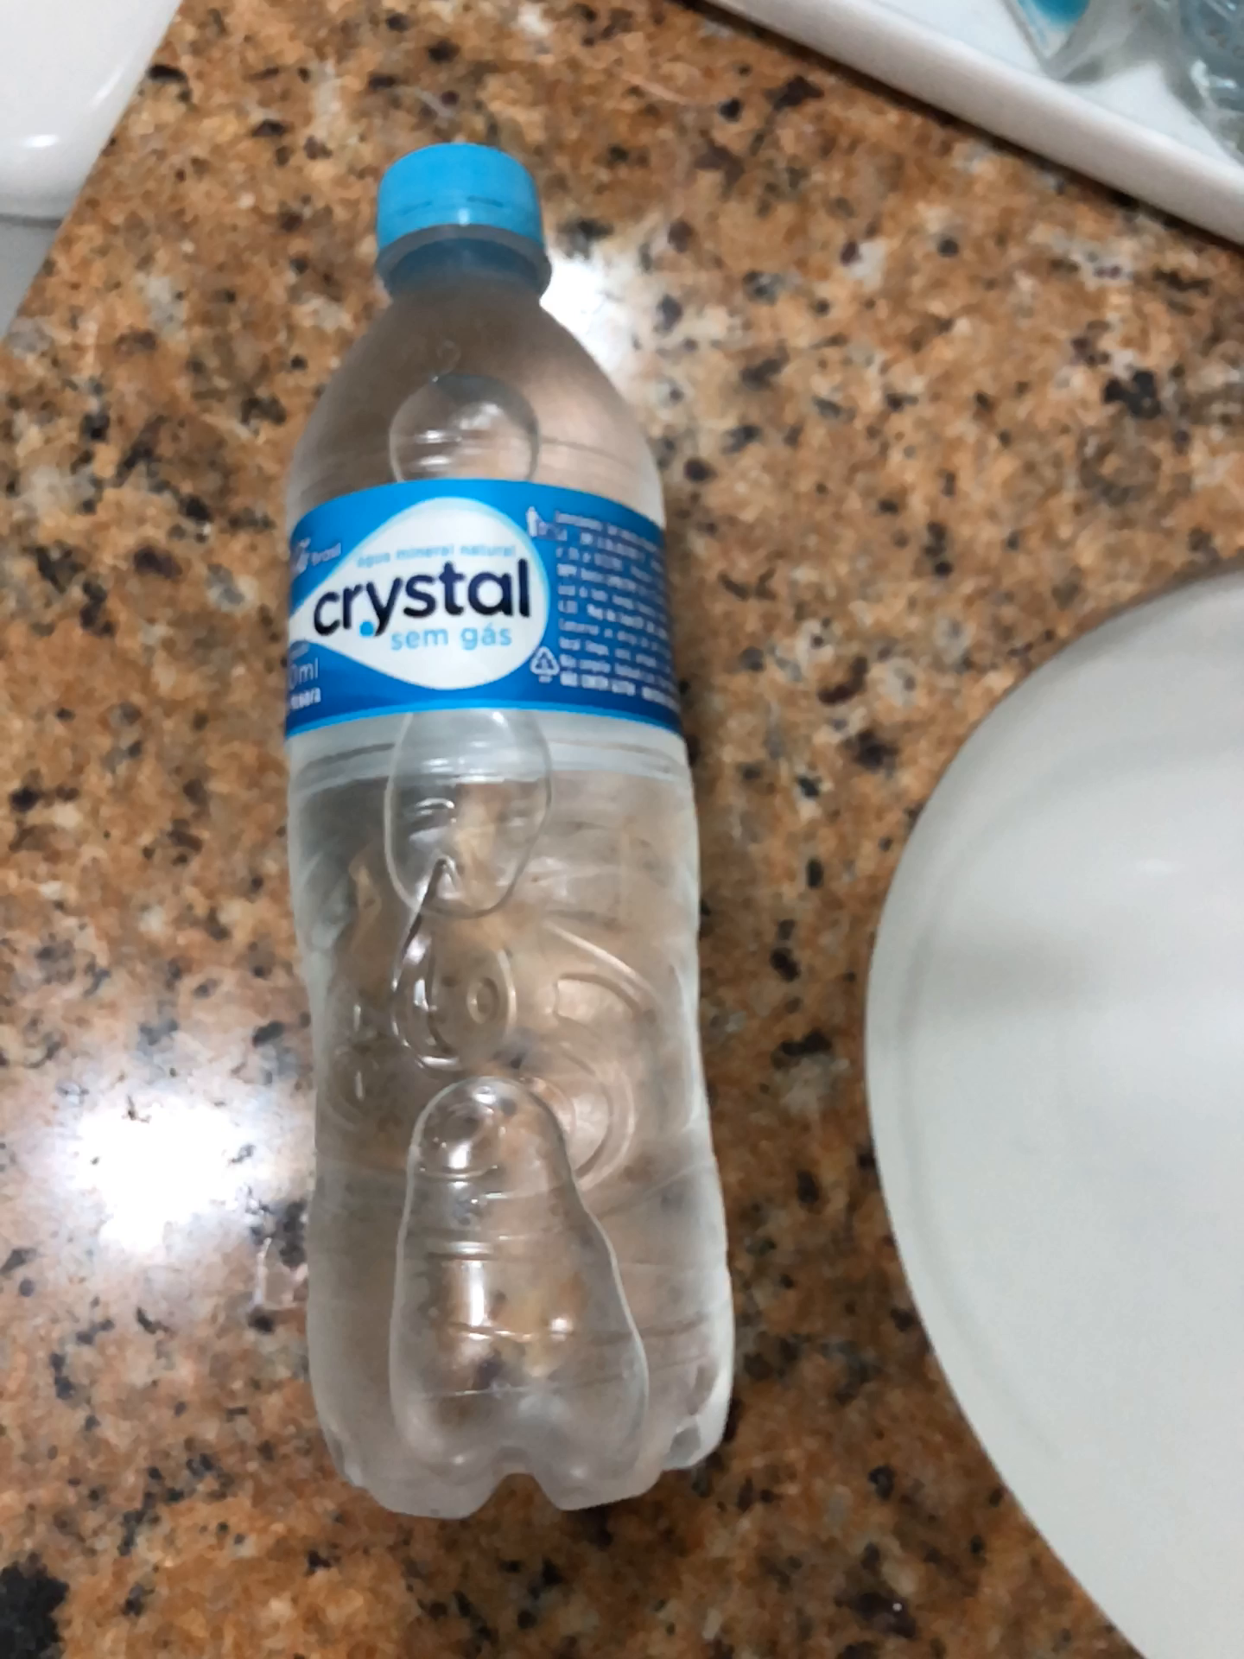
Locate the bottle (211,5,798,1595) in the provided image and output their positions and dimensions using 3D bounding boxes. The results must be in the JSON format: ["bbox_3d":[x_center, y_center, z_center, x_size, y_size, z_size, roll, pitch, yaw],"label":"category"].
[{"bbox_3d":[-0.023,-0.013,0.226,0.070,0.050,0.230,-3,79,-5],"label":"bottle"}]
